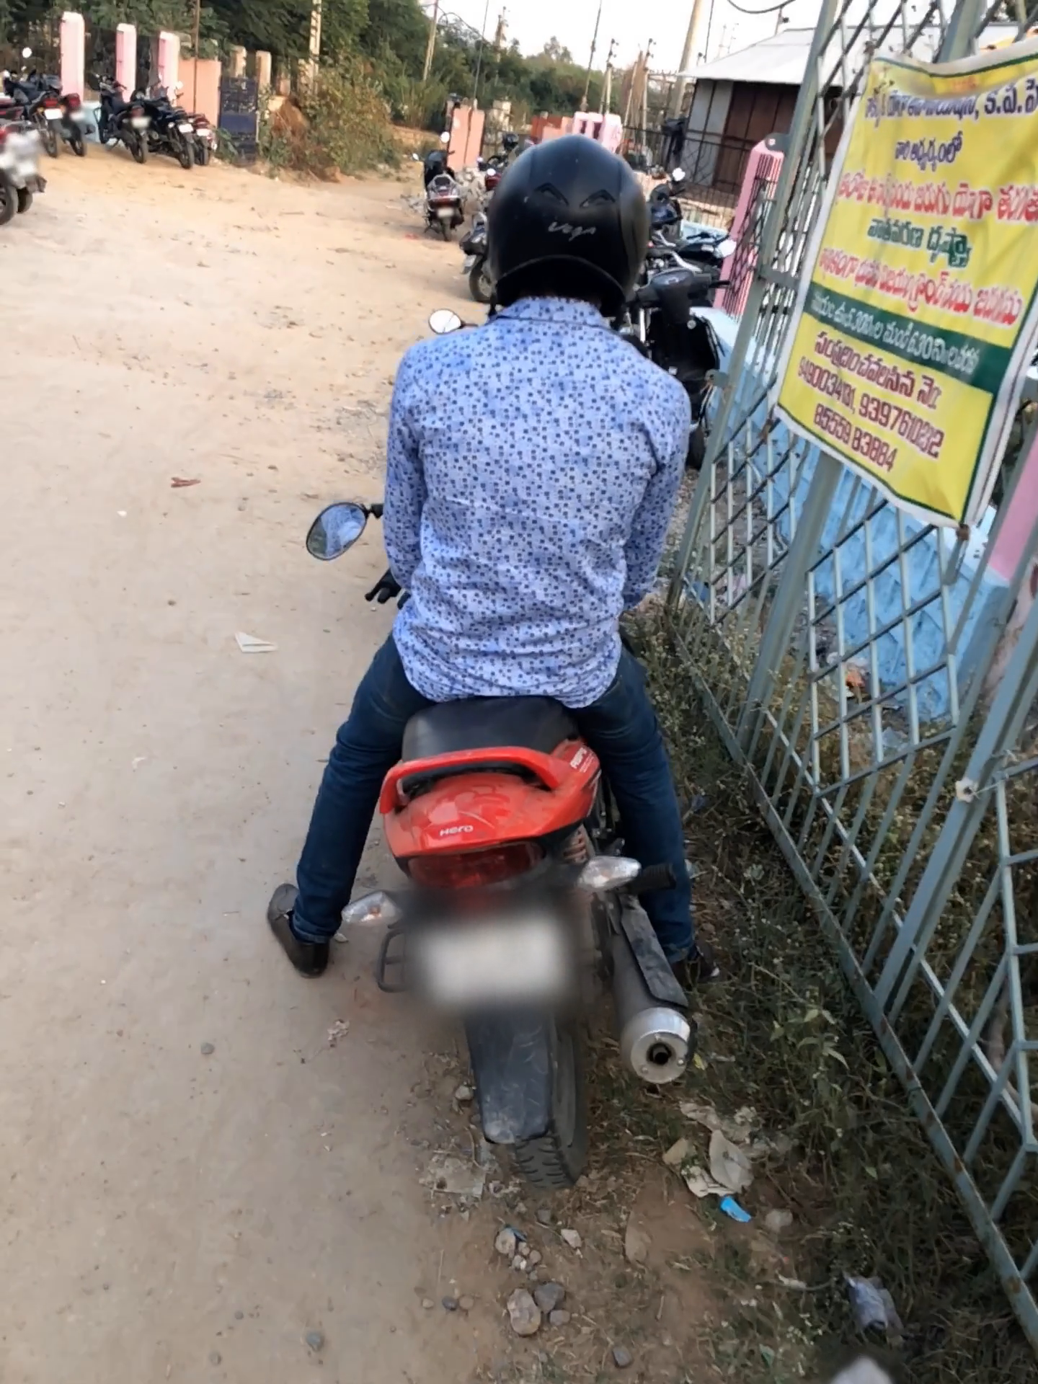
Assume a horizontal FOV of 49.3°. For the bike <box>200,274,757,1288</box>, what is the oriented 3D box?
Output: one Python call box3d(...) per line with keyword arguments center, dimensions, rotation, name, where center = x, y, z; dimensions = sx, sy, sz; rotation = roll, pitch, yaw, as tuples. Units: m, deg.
box3d(center=(-0.228, -0.014, 2.264), dimensions=(0.582, 1.176, 1.698), rotation=(5, 28, -12), name="bike")
